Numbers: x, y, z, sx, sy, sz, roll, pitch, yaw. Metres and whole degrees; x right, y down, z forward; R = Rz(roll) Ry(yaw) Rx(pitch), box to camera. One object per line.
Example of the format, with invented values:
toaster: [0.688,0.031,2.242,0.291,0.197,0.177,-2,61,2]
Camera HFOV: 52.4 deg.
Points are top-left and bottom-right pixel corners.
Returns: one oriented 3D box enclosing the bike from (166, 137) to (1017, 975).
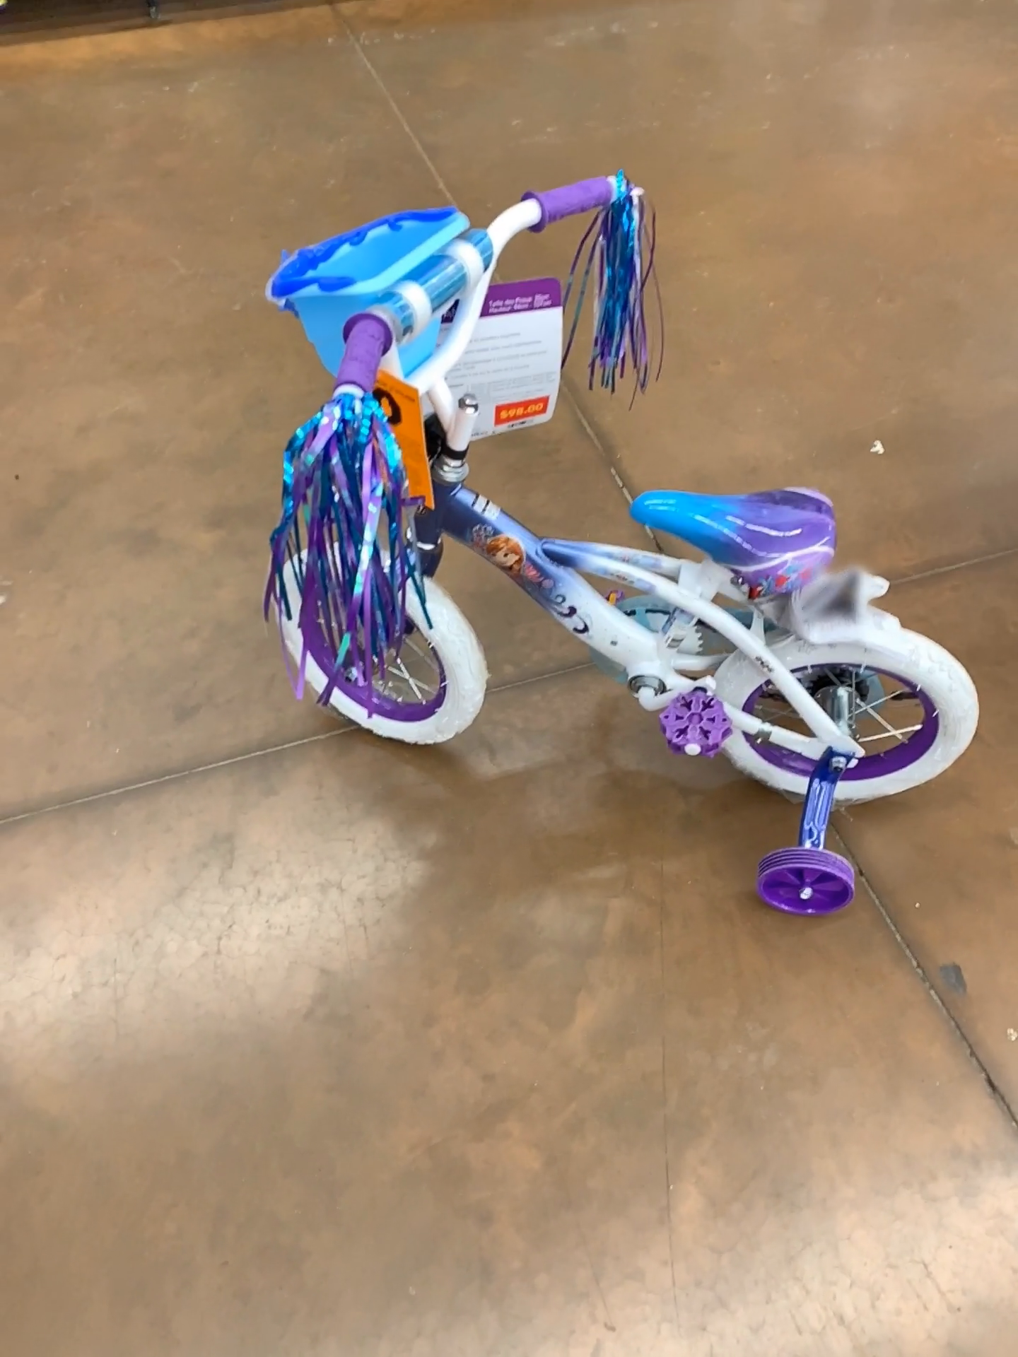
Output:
bike: [0.171,-0.090,1.025,0.651,0.643,0.474,6,51,6]
